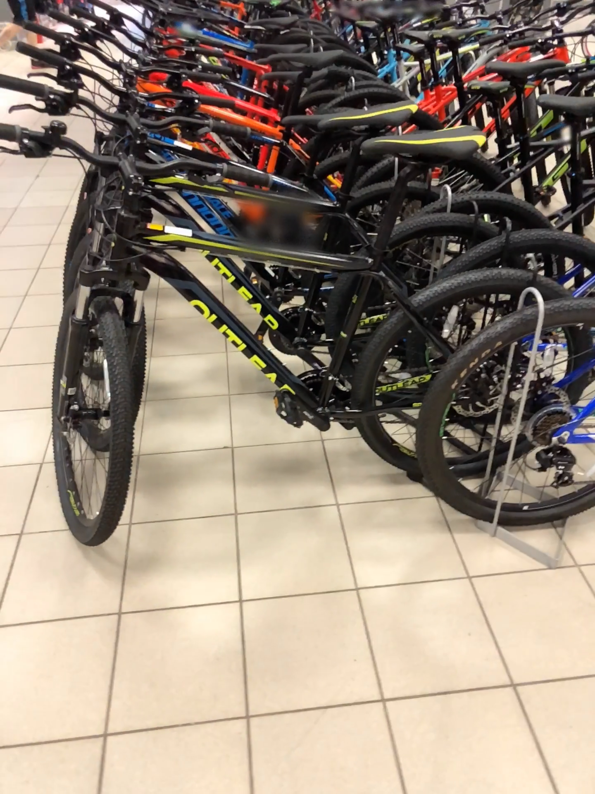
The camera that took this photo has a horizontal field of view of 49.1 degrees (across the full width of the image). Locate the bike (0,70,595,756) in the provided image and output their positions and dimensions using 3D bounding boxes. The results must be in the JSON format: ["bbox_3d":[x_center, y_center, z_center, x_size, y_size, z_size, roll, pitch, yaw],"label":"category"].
[{"bbox_3d":[0.194,-0.058,1.512,1.353,1.043,0.665,-11,36,-13],"label":"bike"}]
